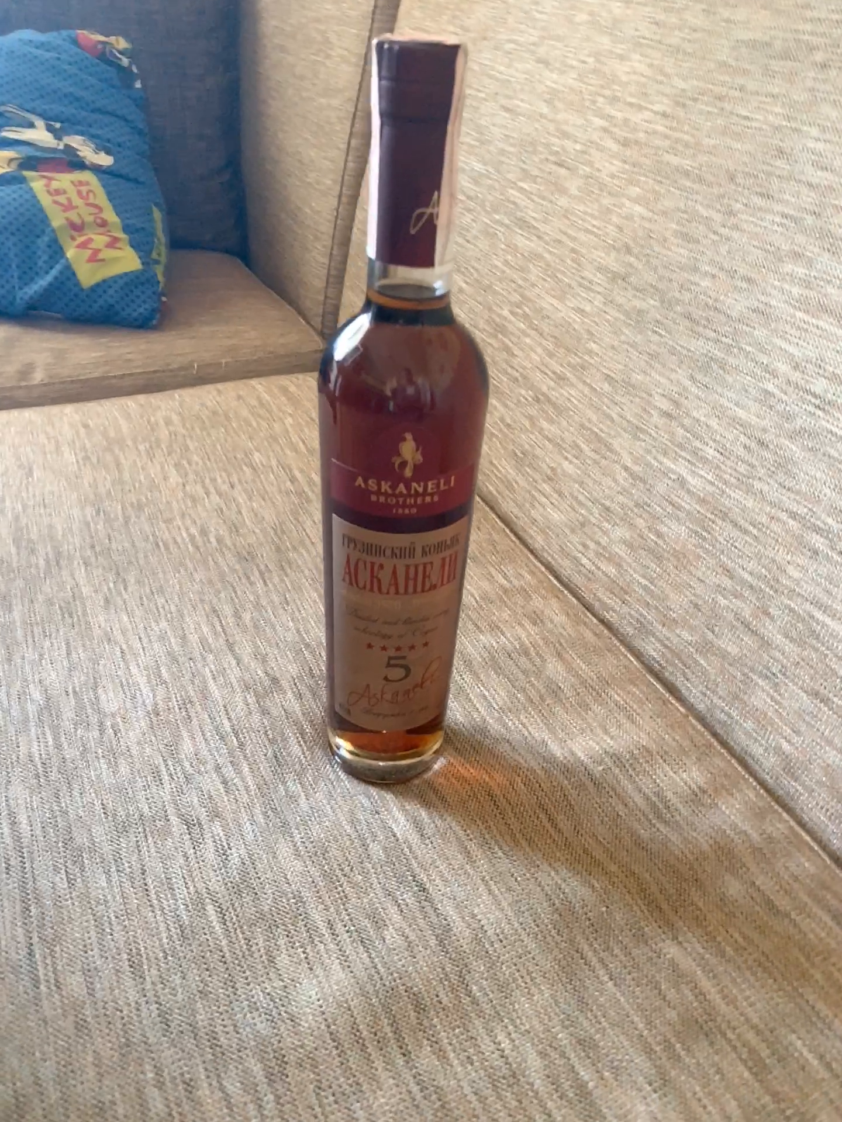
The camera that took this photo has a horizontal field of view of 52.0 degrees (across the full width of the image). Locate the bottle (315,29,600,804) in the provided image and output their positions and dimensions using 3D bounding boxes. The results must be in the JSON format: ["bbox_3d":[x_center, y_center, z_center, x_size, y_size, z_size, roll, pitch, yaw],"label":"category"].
[{"bbox_3d":[-0.001,-0.031,0.323,0.070,0.279,0.070,4,34,-2],"label":"bottle"}]
